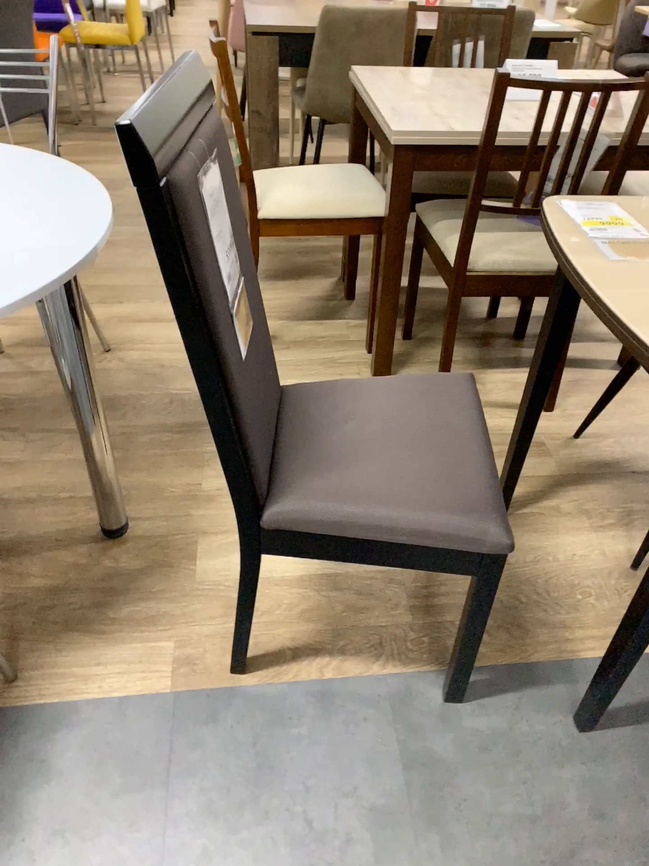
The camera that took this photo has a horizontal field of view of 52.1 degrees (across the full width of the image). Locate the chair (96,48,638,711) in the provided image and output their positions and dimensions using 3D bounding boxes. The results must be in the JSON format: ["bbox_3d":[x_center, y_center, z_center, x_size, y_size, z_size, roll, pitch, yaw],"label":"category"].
[{"bbox_3d":[0.033,-0.018,1.098,0.500,0.994,0.443,3,39,1],"label":"chair"}]
